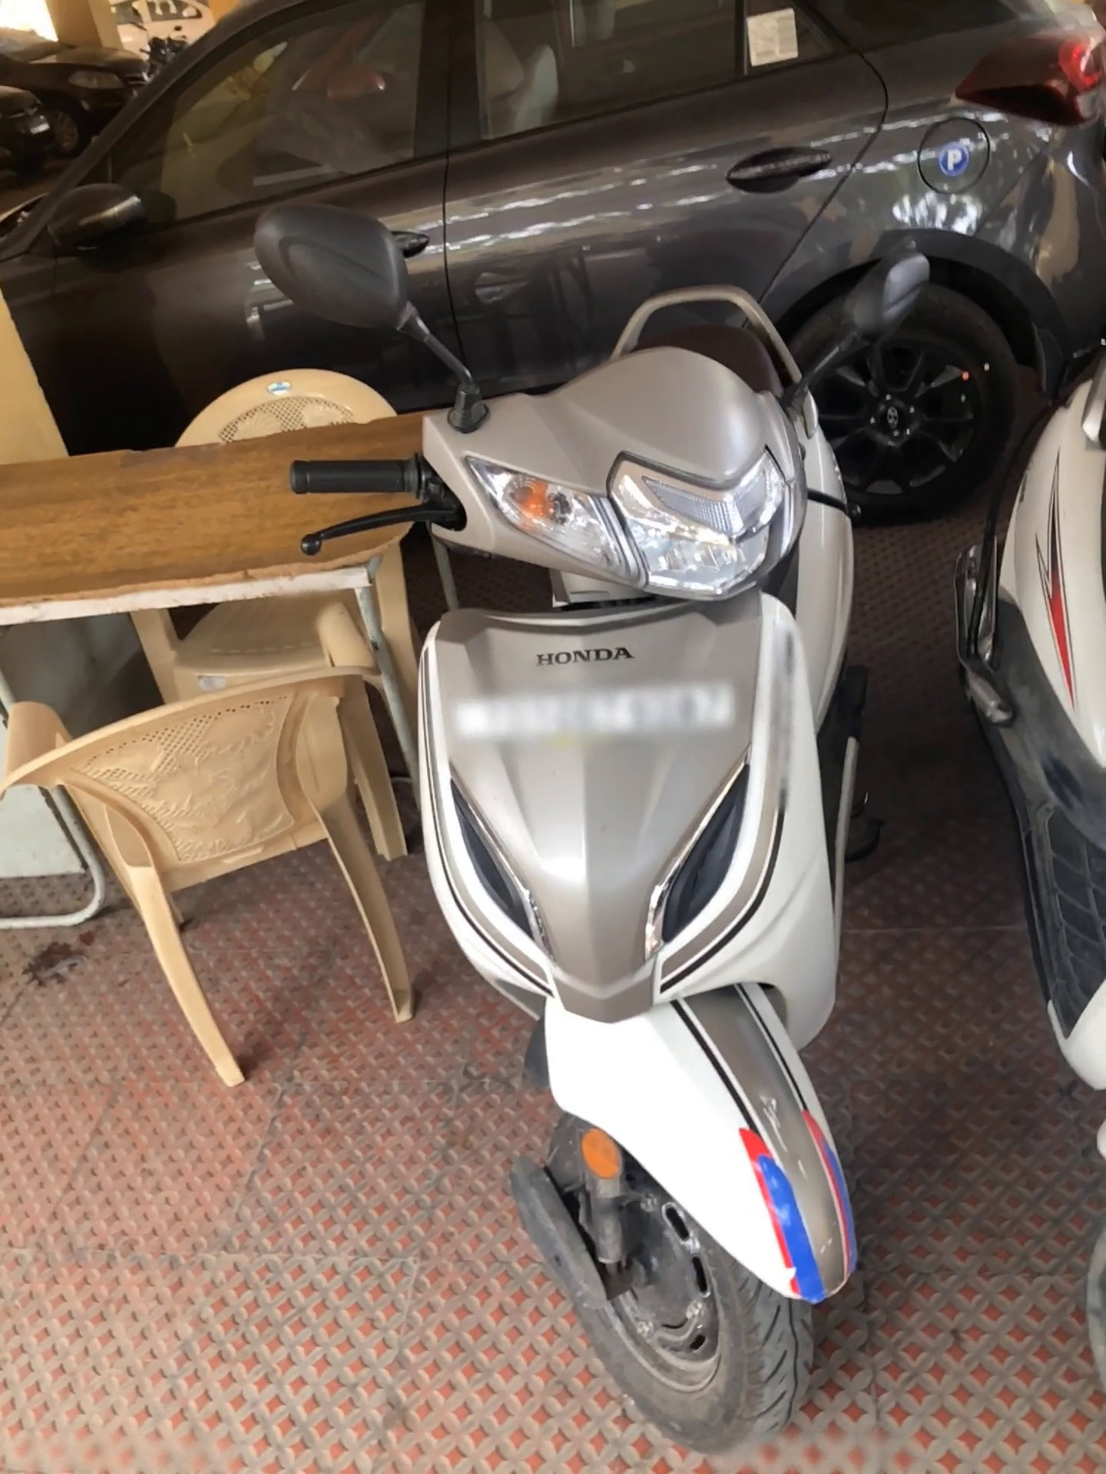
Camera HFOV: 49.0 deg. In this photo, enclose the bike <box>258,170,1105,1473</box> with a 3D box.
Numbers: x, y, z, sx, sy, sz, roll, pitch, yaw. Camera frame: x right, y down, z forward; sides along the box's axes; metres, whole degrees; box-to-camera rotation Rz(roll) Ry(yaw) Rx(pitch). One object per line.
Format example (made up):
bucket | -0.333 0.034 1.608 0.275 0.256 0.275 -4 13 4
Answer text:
bike | 0.181 -0.009 1.662 0.626 0.850 1.464 -6 40 9
